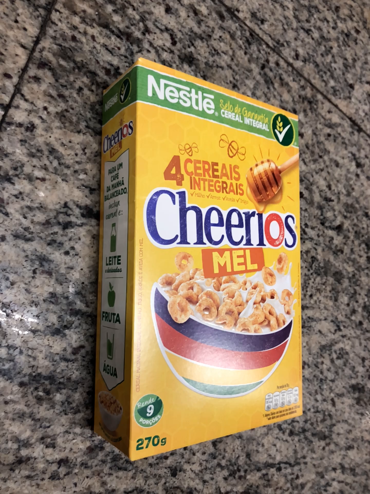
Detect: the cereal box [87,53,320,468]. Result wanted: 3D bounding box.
[{"bbox_3d":[0.020,0.008,0.312,0.171,0.060,0.240,3,83,-36],"label":"cereal box"}]
